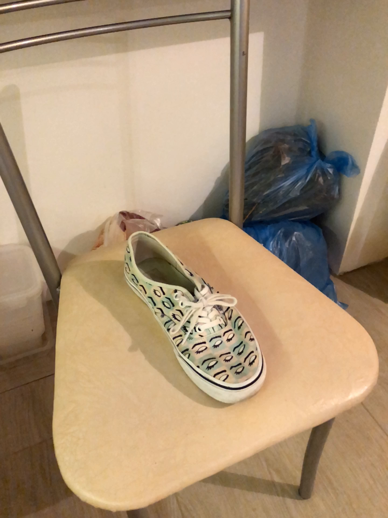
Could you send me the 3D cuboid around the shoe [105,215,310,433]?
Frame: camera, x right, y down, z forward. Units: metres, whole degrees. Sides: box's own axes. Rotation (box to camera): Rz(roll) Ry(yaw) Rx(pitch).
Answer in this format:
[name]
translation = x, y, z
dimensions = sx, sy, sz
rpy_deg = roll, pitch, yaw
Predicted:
[shoe]
translation = 0.002, 0.058, 0.514
dimensions = 0.110, 0.068, 0.261
rpy_deg = -24, 47, -22
